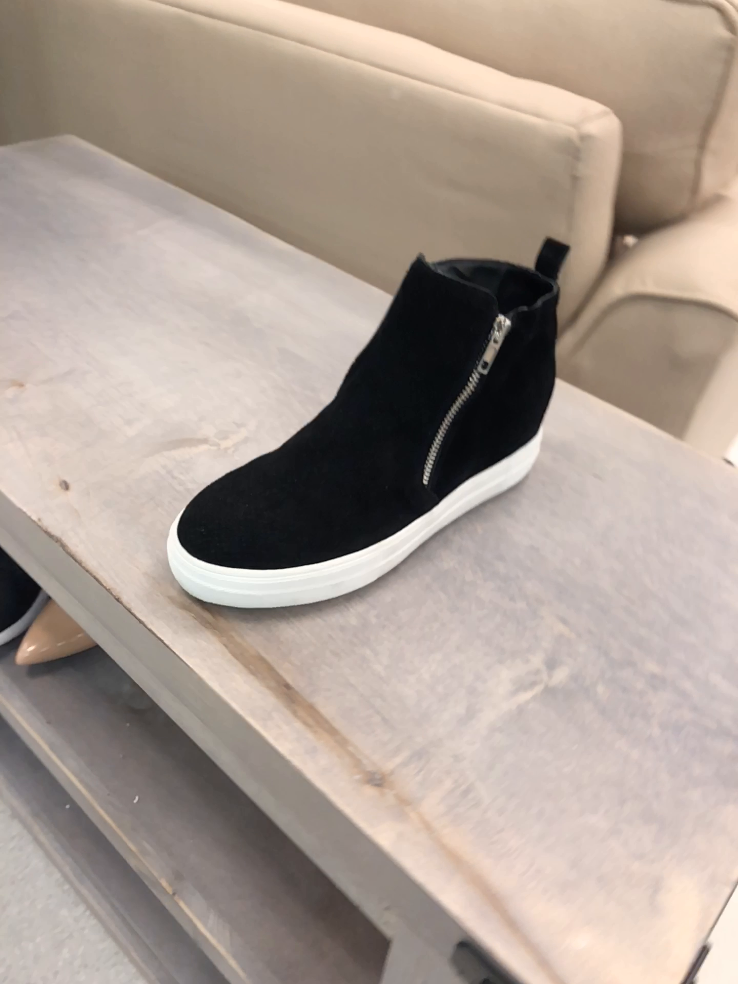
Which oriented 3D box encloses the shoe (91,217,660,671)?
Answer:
[{"bbox_3d":[0.012,-0.044,0.467,0.292,0.146,0.107,-22,48,-31],"label":"shoe"}]
